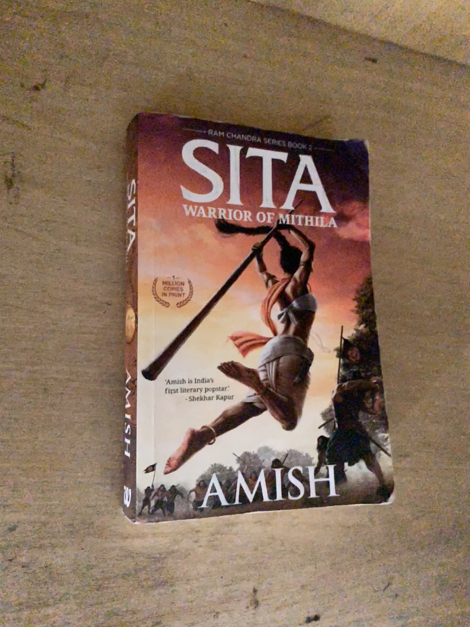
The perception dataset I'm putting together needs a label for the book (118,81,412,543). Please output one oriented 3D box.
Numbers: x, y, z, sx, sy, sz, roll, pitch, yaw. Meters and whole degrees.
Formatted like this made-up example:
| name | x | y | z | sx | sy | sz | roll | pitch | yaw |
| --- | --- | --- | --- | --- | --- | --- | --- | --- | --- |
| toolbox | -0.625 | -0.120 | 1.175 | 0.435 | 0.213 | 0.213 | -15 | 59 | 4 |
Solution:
| name | x | y | z | sx | sy | sz | roll | pitch | yaw |
| --- | --- | --- | --- | --- | --- | --- | --- | --- | --- |
| book | 0.015 | -0.003 | 0.247 | 0.140 | 0.030 | 0.200 | 1 | 84 | -17 |
